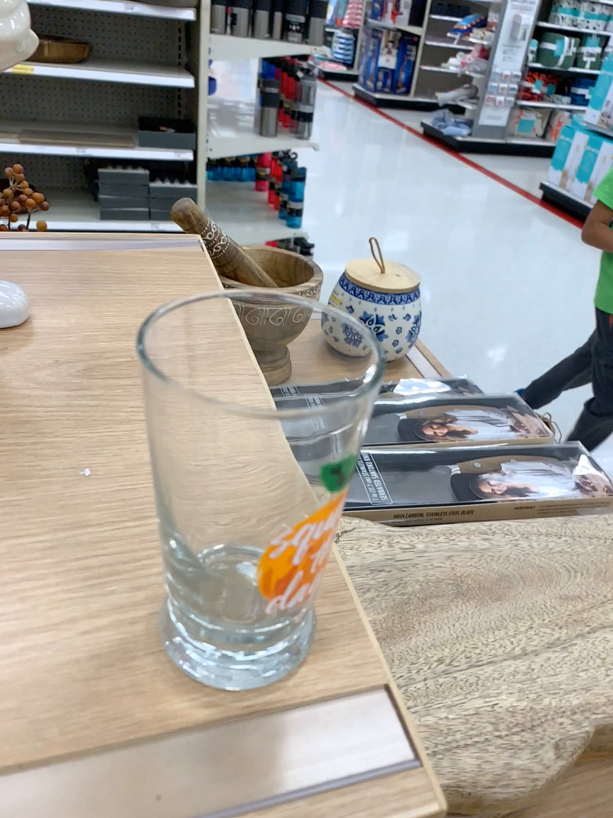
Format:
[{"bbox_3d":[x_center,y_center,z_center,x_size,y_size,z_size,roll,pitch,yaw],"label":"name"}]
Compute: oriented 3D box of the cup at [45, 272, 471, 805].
[{"bbox_3d":[-0.015,0.036,0.199,0.080,0.119,0.080,6,34,-4],"label":"cup"}]
